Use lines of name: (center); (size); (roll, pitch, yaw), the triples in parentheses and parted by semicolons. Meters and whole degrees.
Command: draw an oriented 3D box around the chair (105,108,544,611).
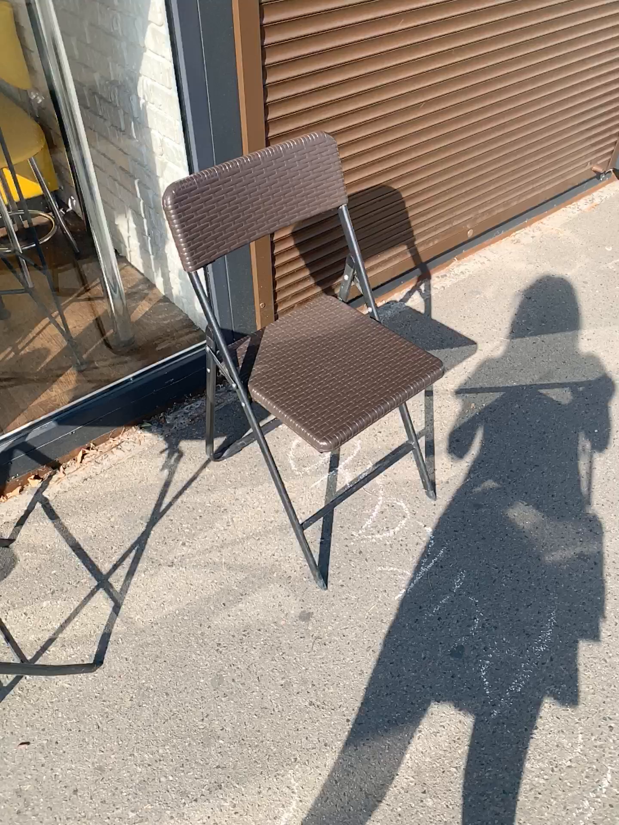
chair: (0.006, -0.116, 1.370); (0.481, 0.767, 0.612); (-32, 53, -28)
